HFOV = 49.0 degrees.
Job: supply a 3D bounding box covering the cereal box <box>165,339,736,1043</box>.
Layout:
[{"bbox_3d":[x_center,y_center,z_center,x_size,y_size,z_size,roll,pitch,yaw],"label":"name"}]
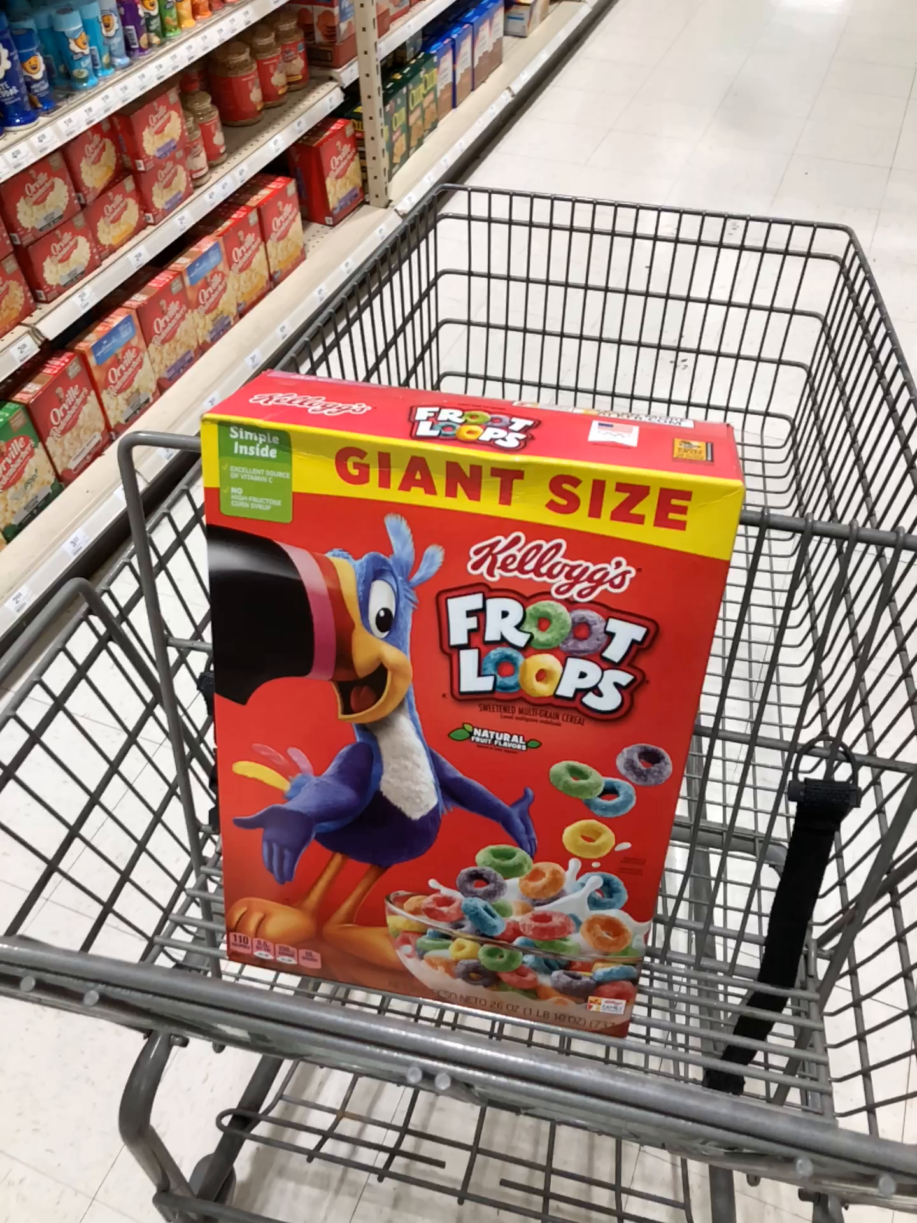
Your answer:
[{"bbox_3d":[-0.015,0.055,0.573,0.260,0.370,0.090,9,27,7],"label":"cereal box"}]
